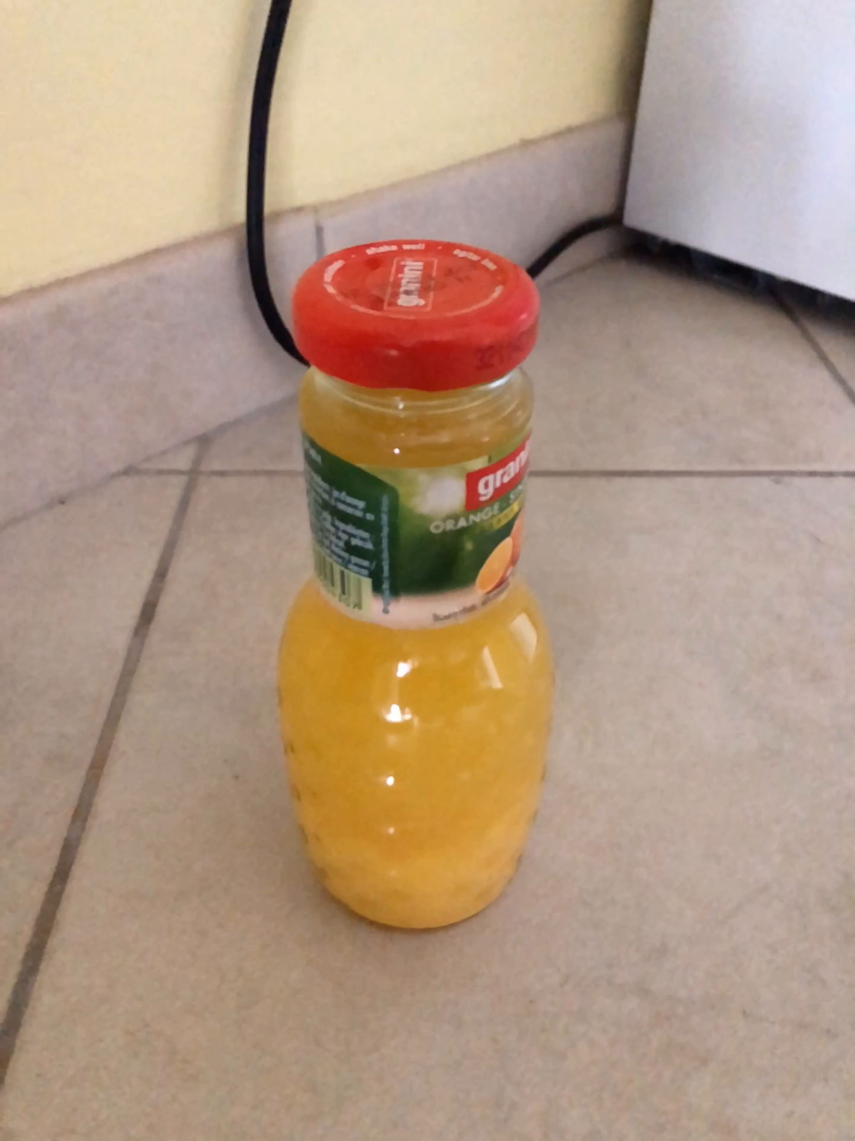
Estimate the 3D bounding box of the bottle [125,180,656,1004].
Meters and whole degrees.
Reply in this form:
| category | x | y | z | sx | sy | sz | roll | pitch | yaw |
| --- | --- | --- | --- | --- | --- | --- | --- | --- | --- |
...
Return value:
| category | x | y | z | sx | sy | sz | roll | pitch | yaw |
| --- | --- | --- | --- | --- | --- | --- | --- | --- | --- |
| bottle | -0.004 | 0.011 | 0.208 | 0.060 | 0.159 | 0.070 | 21 | 43 | 23 |
